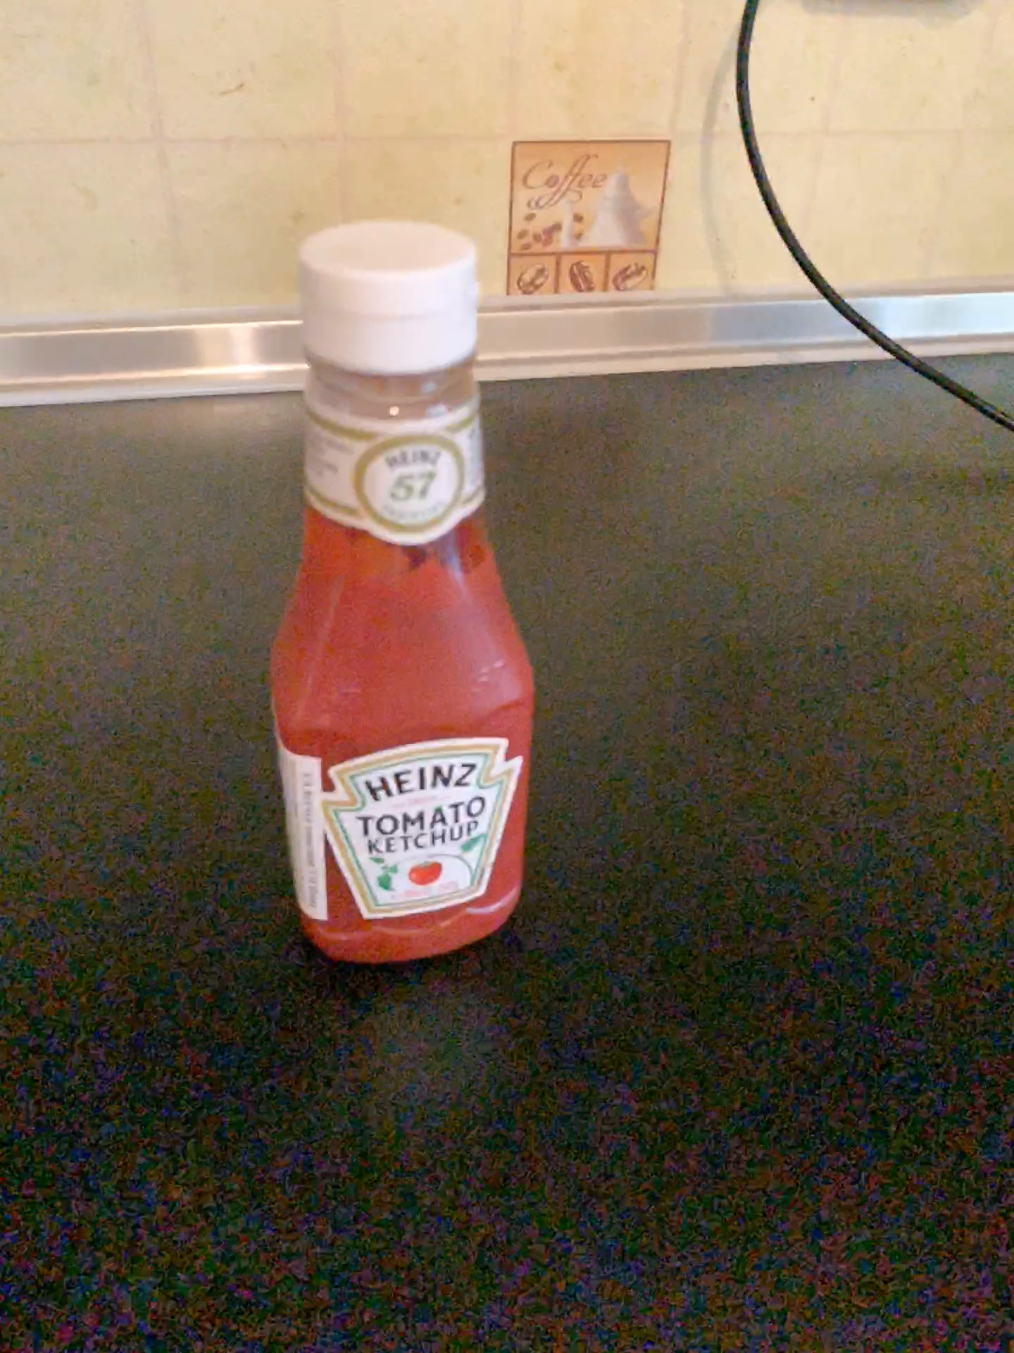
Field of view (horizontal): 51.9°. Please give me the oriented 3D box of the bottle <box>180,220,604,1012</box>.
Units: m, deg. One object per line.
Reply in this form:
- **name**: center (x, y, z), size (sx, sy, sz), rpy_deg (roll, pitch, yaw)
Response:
- **bottle**: center (-0.027, -0.002, 0.252), size (0.070, 0.189, 0.050), rpy_deg (-8, 40, -14)
